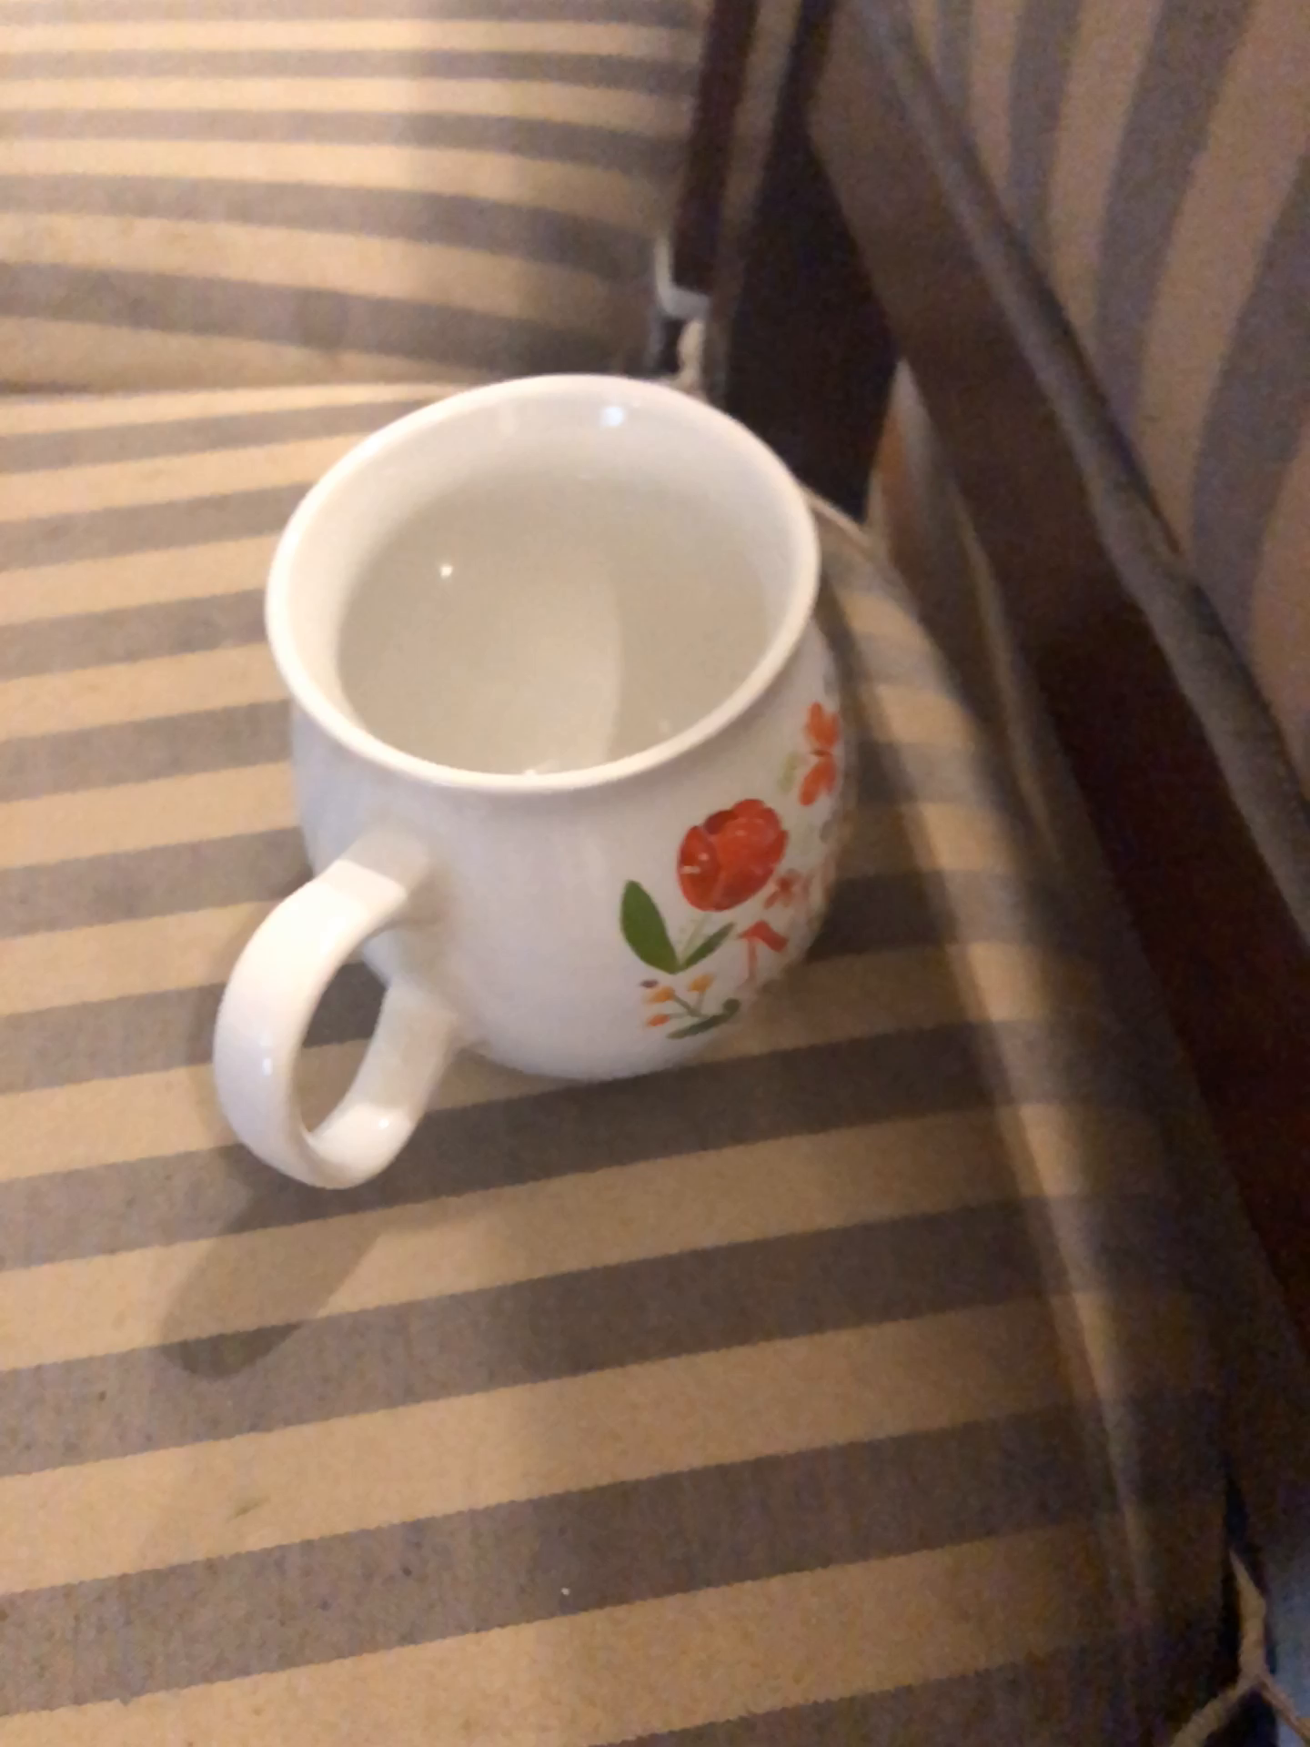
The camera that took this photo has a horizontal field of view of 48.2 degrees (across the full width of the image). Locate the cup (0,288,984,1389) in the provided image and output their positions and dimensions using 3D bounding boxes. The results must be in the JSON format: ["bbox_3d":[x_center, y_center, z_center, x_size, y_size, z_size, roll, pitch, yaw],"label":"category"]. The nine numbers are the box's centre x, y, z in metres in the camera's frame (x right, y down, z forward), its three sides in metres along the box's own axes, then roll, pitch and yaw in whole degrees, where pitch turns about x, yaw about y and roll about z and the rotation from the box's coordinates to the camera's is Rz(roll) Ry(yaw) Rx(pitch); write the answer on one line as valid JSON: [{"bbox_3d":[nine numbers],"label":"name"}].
[{"bbox_3d":[-0.029,-0.011,0.261,0.110,0.090,0.140,26,61,17],"label":"cup"}]
